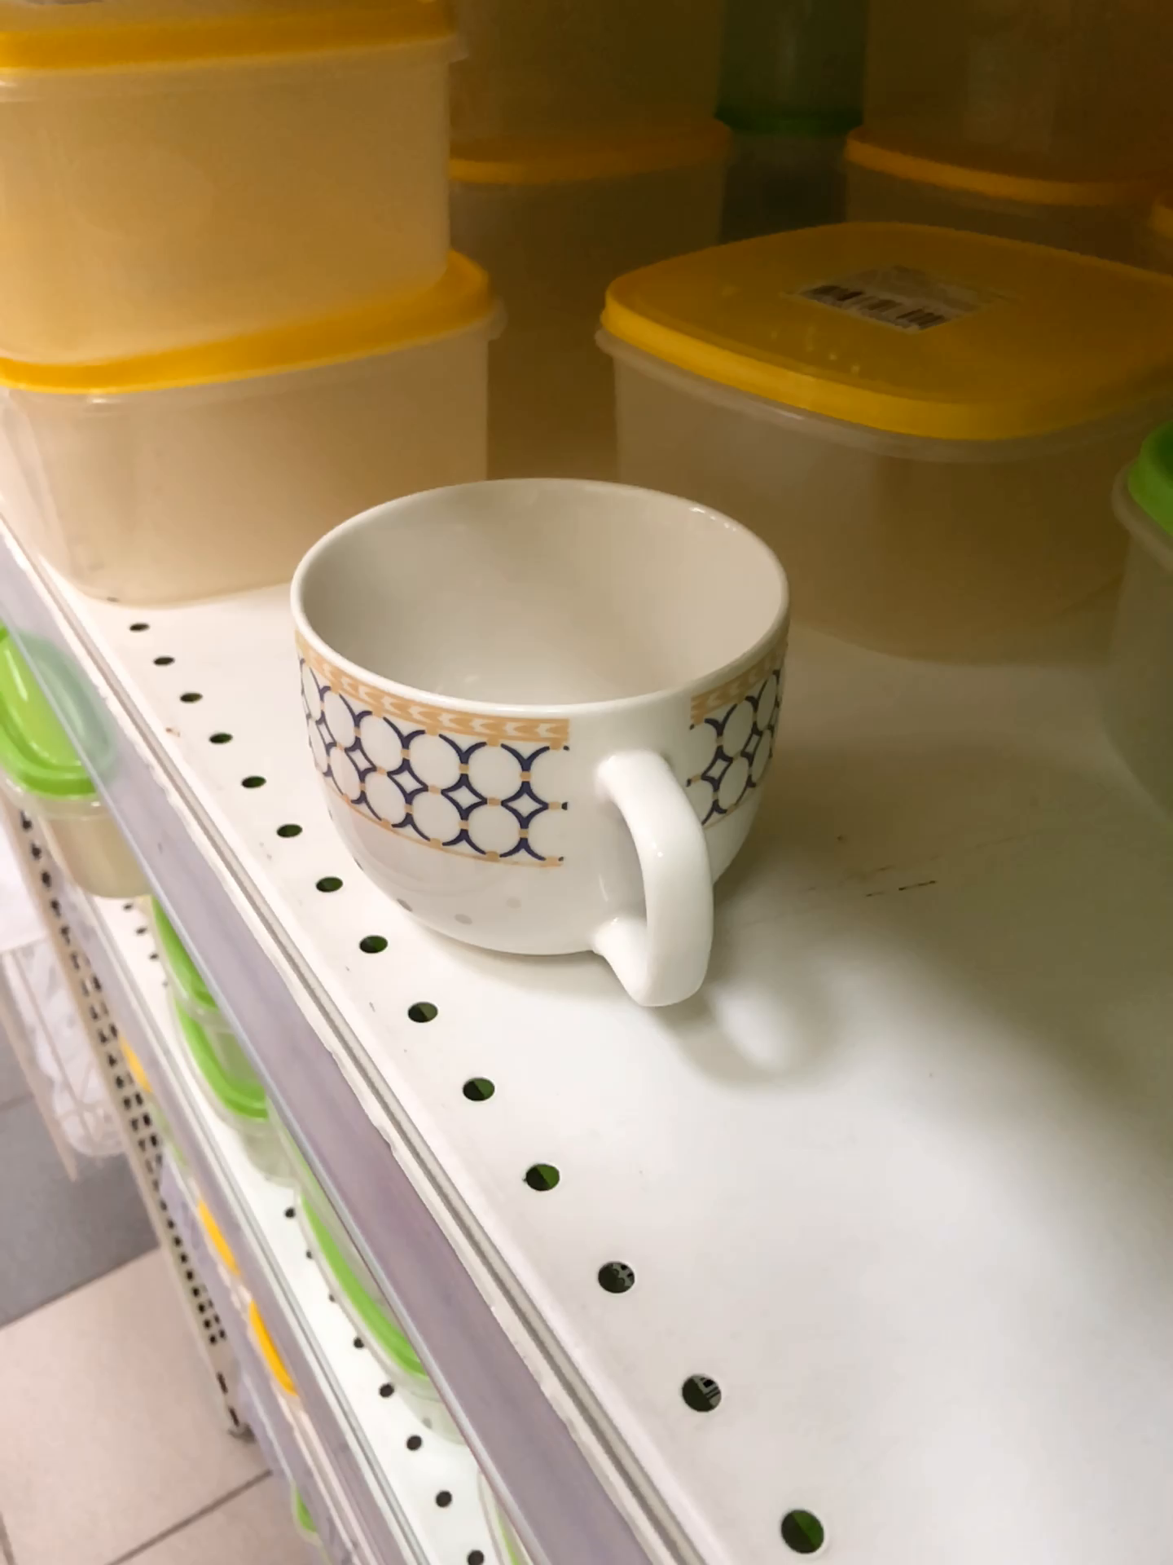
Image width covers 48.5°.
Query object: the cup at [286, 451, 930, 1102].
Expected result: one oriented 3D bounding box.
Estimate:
[{"bbox_3d":[-0.006,-0.012,0.286,0.105,0.062,0.135,-9,37,-9],"label":"cup"}]
